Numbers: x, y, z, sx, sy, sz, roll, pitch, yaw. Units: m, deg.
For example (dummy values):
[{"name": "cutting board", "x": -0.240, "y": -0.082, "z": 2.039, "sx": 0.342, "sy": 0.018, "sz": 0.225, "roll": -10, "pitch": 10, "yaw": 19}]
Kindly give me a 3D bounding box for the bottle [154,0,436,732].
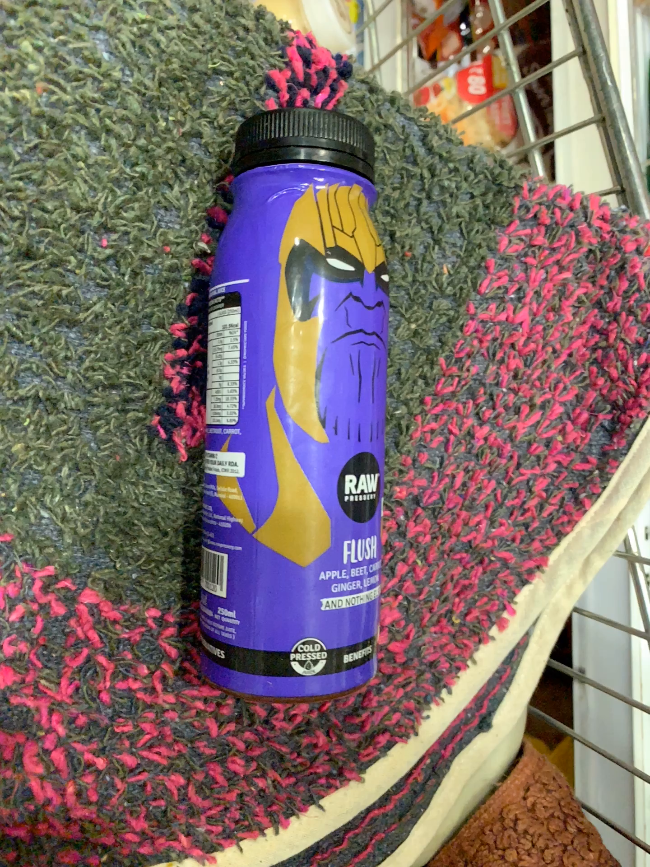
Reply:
[{"name": "bottle", "x": -0.008, "y": -0.016, "z": 0.193, "sx": 0.060, "sy": 0.050, "sz": 0.170, "roll": 2, "pitch": 87, "yaw": -42}]
